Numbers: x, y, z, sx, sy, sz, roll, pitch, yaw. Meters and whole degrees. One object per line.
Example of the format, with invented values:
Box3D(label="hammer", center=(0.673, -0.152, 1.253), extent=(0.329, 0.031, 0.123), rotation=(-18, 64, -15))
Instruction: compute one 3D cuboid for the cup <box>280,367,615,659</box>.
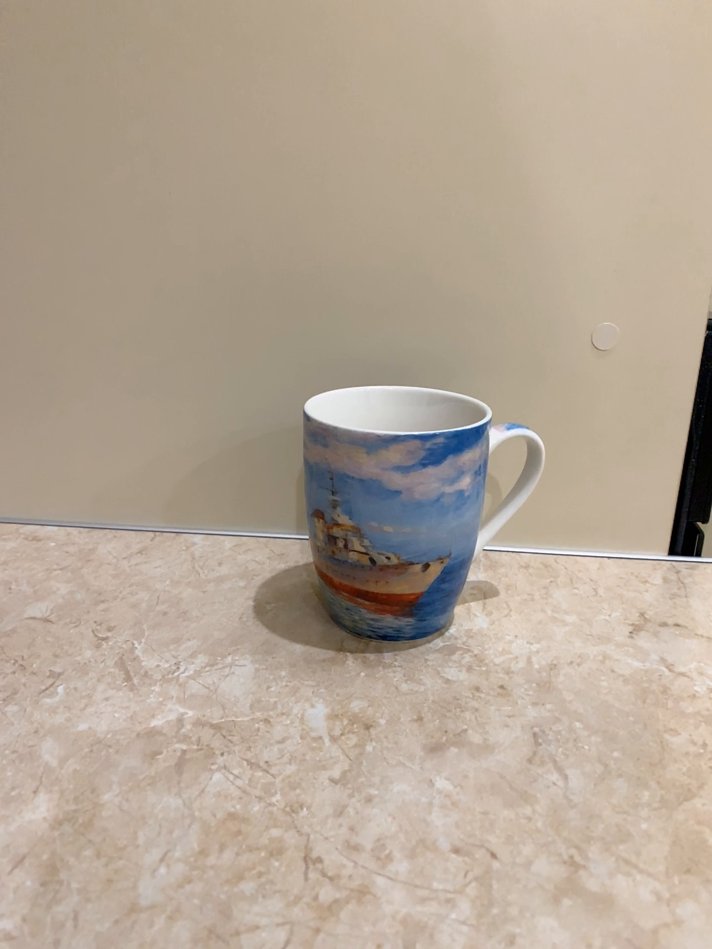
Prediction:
Box3D(label="cup", center=(0.036, 0.008, 0.325), extent=(0.114, 0.087, 0.083), rotation=(-9, 22, -29))
